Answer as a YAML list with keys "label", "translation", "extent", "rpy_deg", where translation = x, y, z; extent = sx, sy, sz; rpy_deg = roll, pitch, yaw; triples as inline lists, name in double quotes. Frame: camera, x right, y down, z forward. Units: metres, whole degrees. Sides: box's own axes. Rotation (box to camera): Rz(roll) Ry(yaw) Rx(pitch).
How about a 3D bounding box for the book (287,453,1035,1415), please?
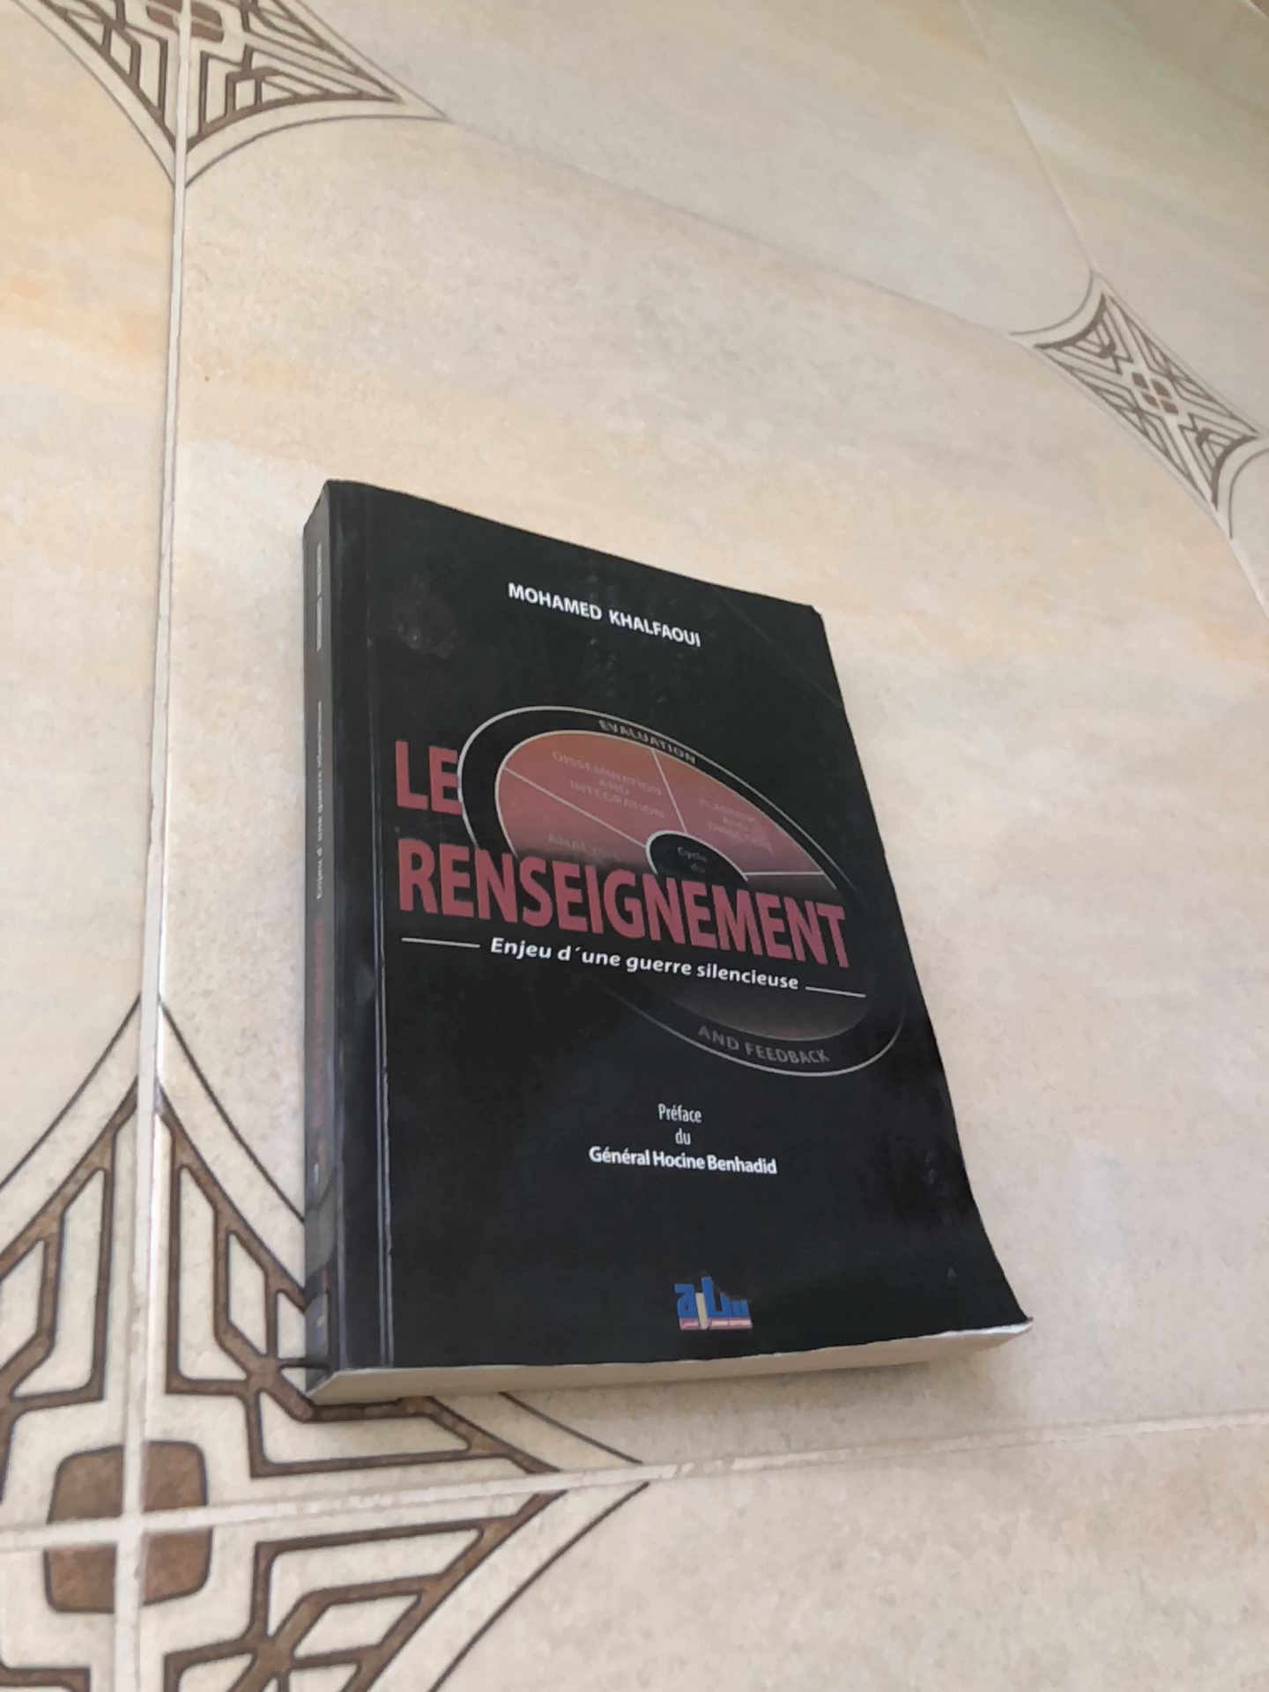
- label: "book"
  translation: [-0.001, 0.016, 0.320]
  extent: [0.146, 0.037, 0.201]
  rpy_deg: [10, 56, -29]
